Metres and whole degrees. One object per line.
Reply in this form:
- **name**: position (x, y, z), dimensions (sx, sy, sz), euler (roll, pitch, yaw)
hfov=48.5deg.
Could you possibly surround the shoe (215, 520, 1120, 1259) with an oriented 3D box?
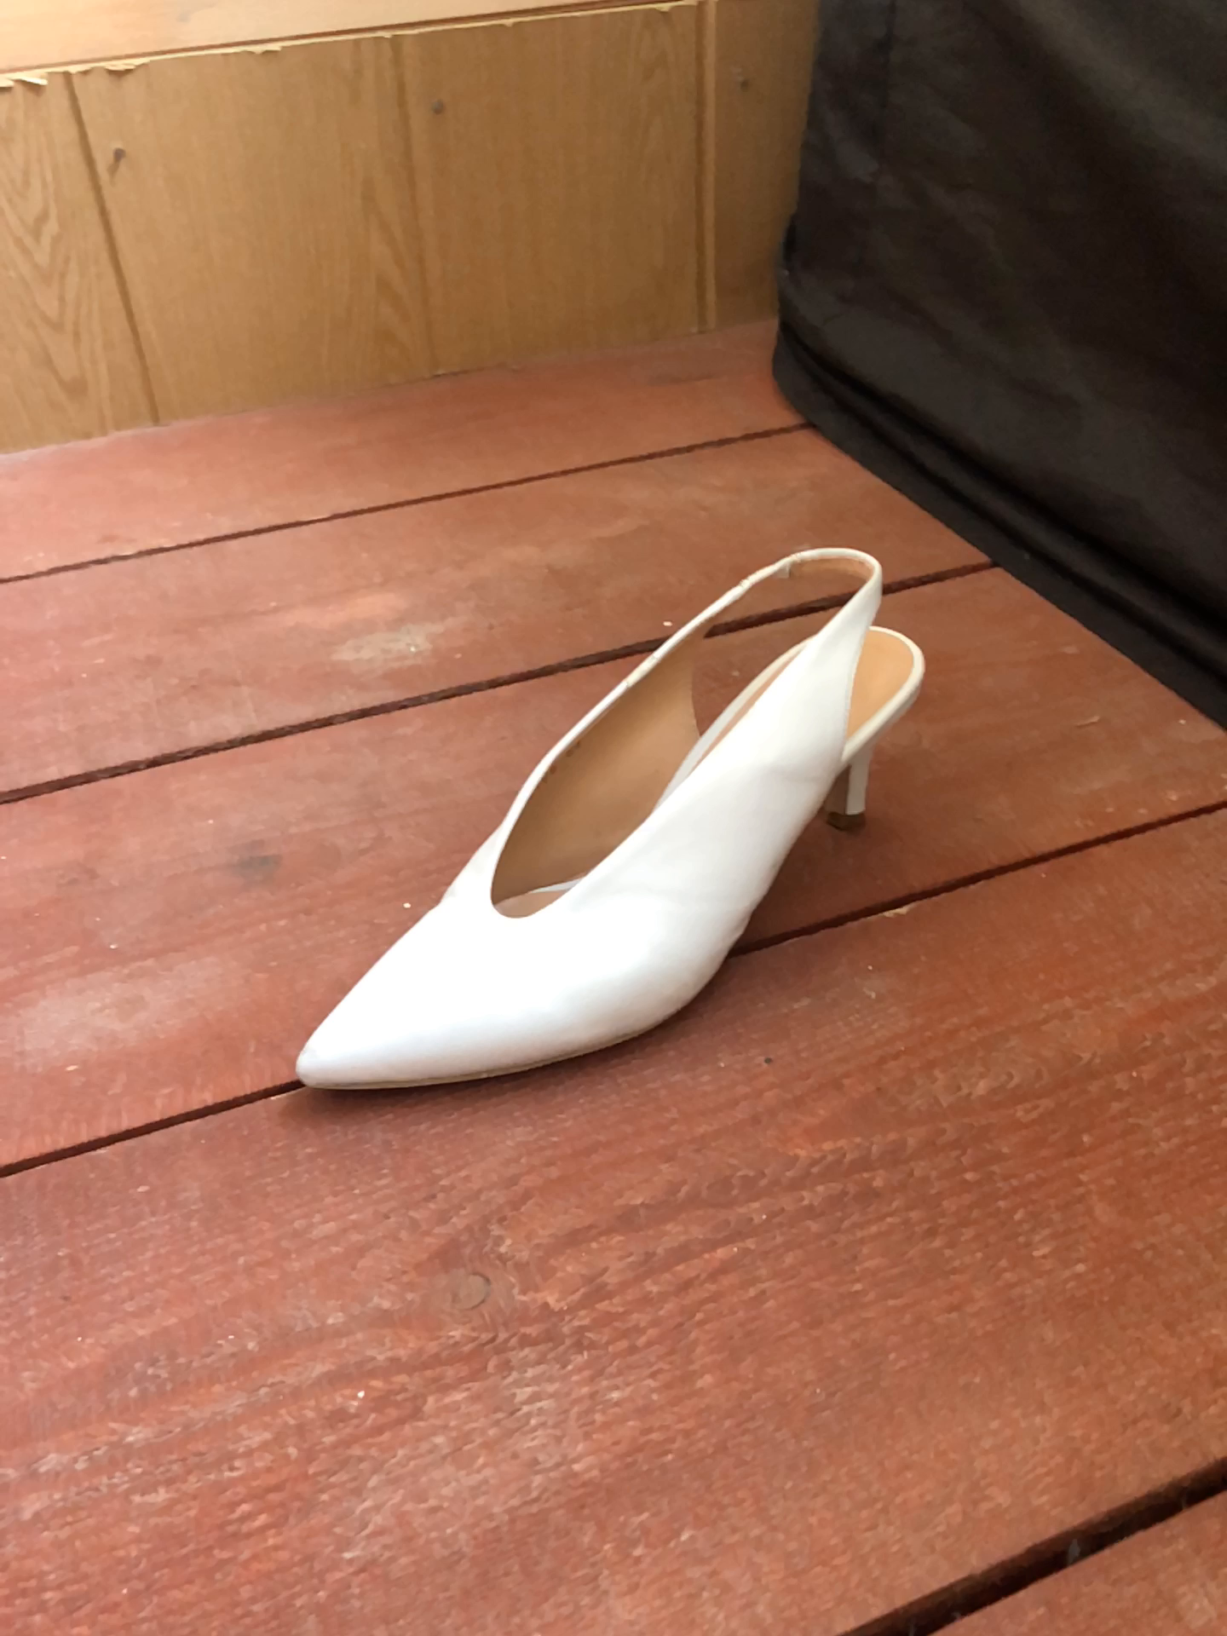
- **shoe**: position (0.025, 0.003, 0.396), dimensions (0.240, 0.080, 0.100), euler (-28, 43, -28)
